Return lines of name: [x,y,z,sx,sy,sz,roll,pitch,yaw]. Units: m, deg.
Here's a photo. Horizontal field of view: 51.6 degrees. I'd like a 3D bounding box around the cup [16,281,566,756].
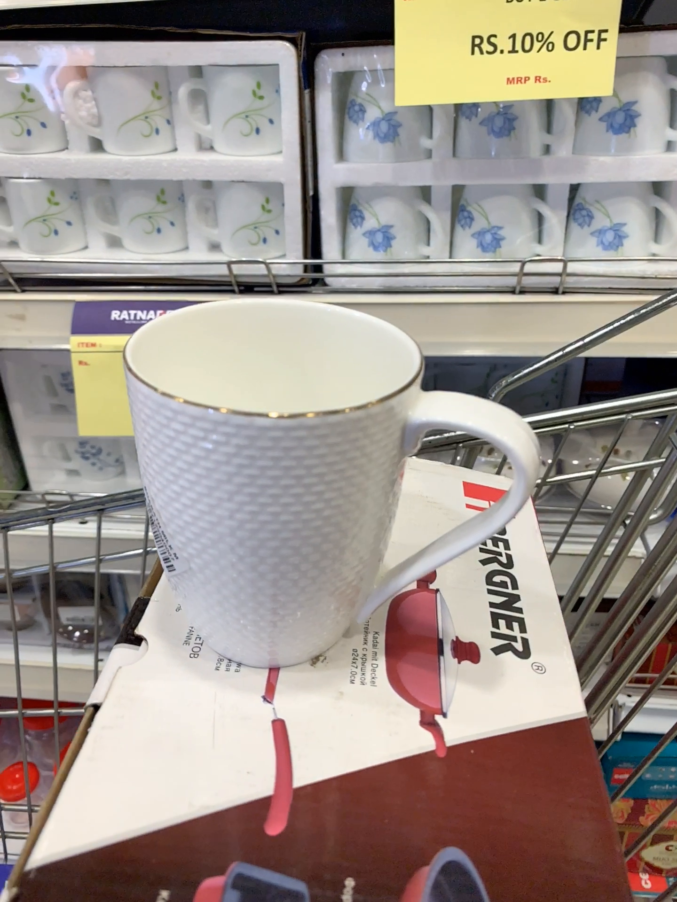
cup: [-0.005,0.009,0.205,0.120,0.080,0.090,10,33,16]
